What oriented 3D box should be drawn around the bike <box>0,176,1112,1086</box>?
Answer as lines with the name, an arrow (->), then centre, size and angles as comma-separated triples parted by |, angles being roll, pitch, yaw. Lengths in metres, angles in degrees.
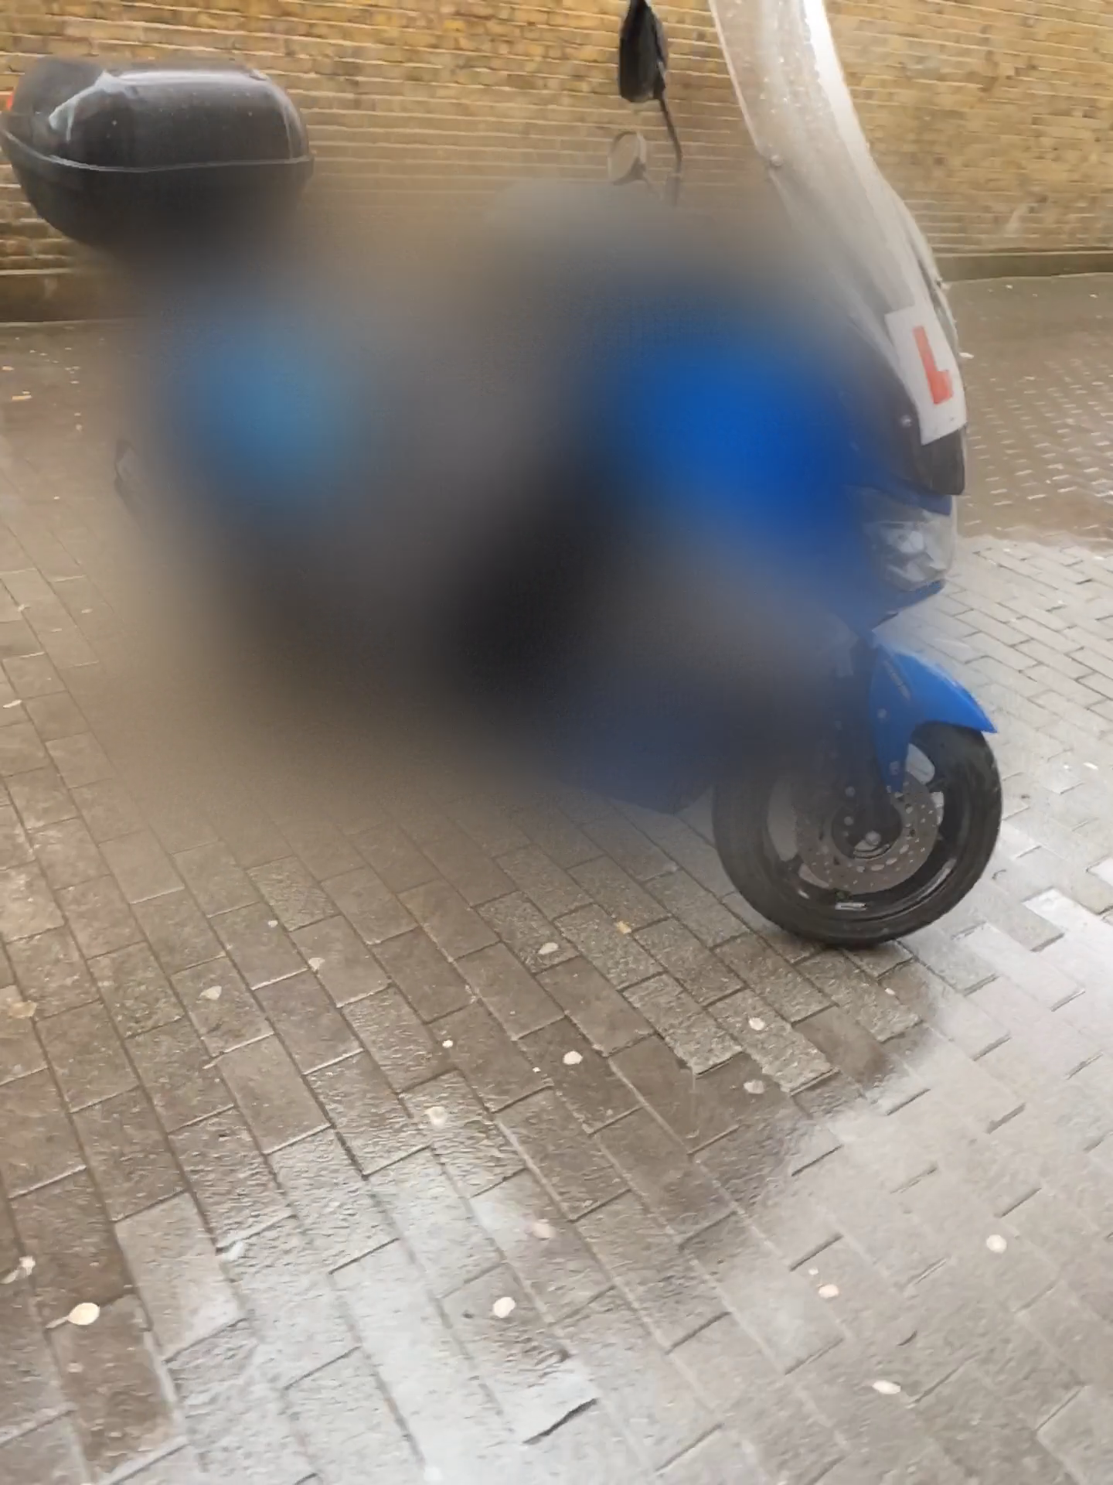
bike -> -0.069, -0.345, 1.995 | 1.731, 0.998, 0.681 | 21, 33, 25
